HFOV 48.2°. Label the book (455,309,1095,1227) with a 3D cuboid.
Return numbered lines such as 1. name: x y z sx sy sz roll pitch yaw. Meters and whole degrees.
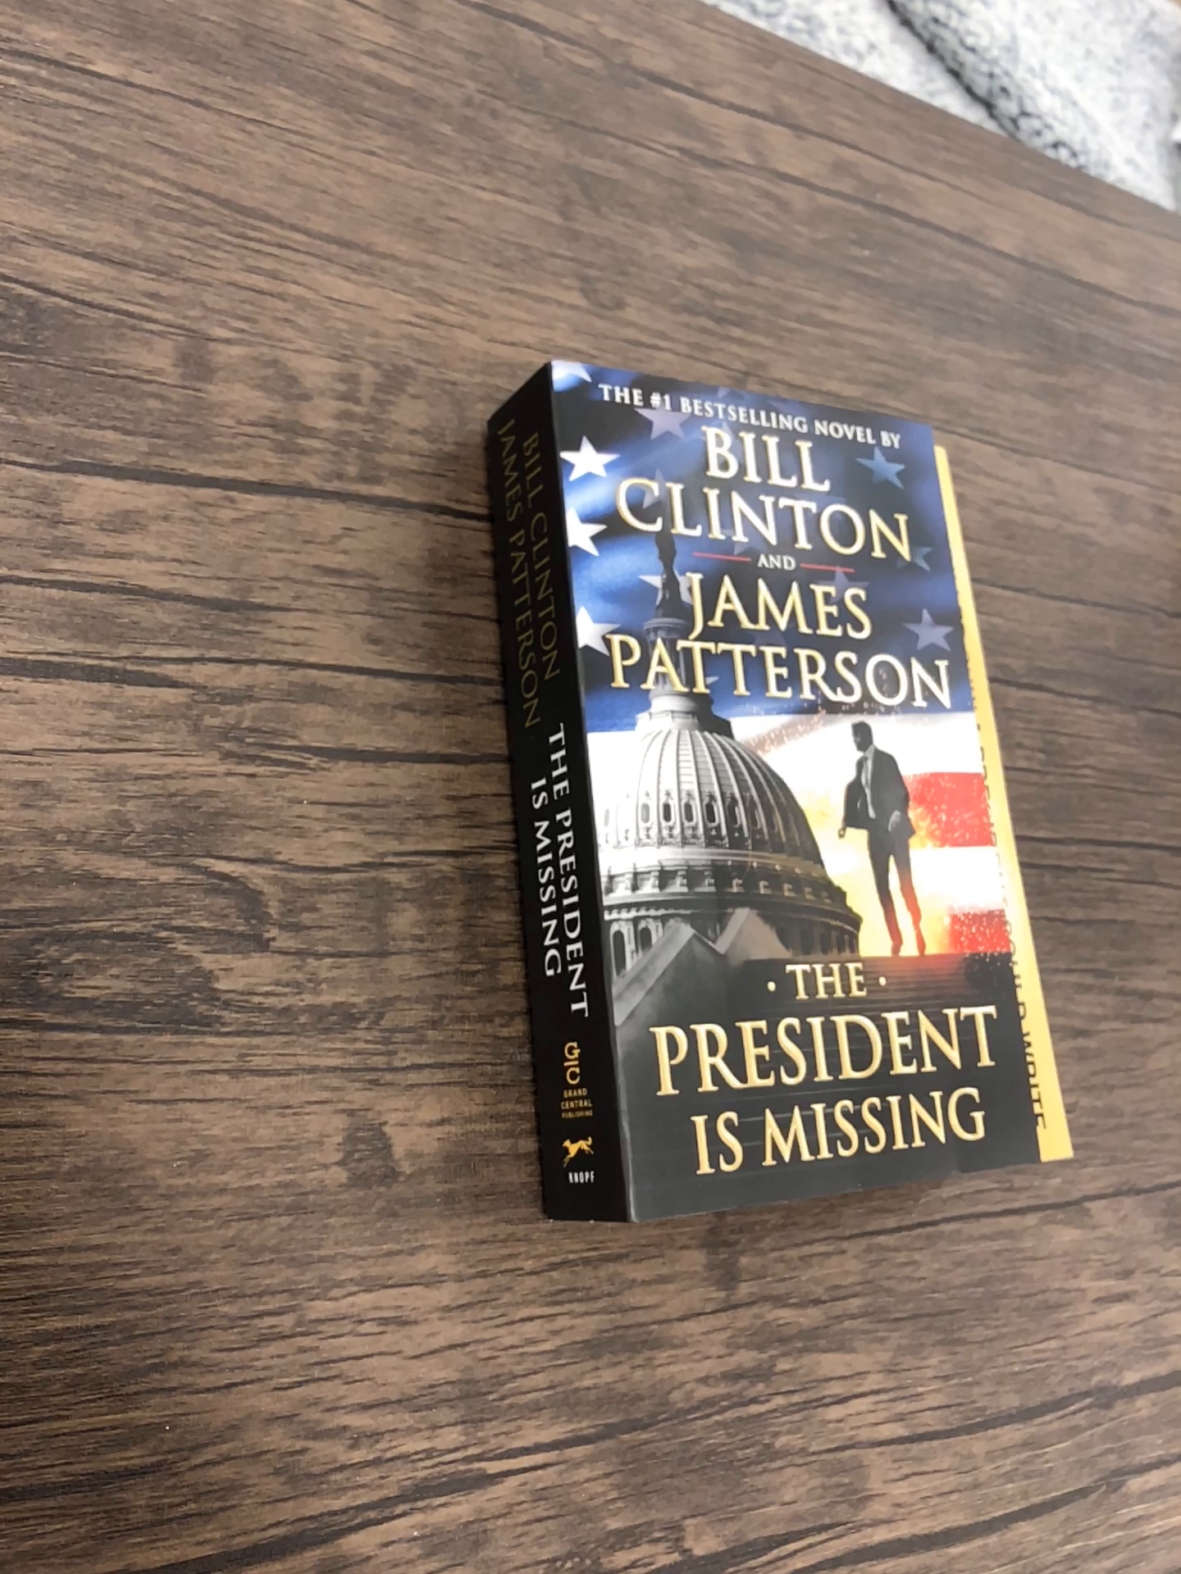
1. book: 0.047 -0.004 0.357 0.140 0.054 0.216 2 74 -31
